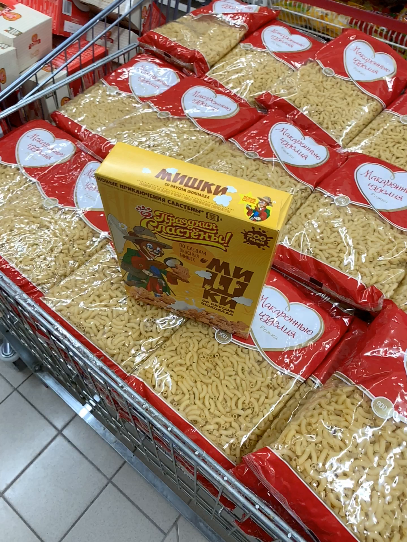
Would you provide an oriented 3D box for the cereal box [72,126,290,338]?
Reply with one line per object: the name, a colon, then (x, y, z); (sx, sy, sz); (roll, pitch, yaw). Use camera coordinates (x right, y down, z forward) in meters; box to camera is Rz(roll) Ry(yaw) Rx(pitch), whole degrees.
cereal box: (-0.019, -0.024, 0.431); (0.170, 0.219, 0.050); (20, 61, 11)
